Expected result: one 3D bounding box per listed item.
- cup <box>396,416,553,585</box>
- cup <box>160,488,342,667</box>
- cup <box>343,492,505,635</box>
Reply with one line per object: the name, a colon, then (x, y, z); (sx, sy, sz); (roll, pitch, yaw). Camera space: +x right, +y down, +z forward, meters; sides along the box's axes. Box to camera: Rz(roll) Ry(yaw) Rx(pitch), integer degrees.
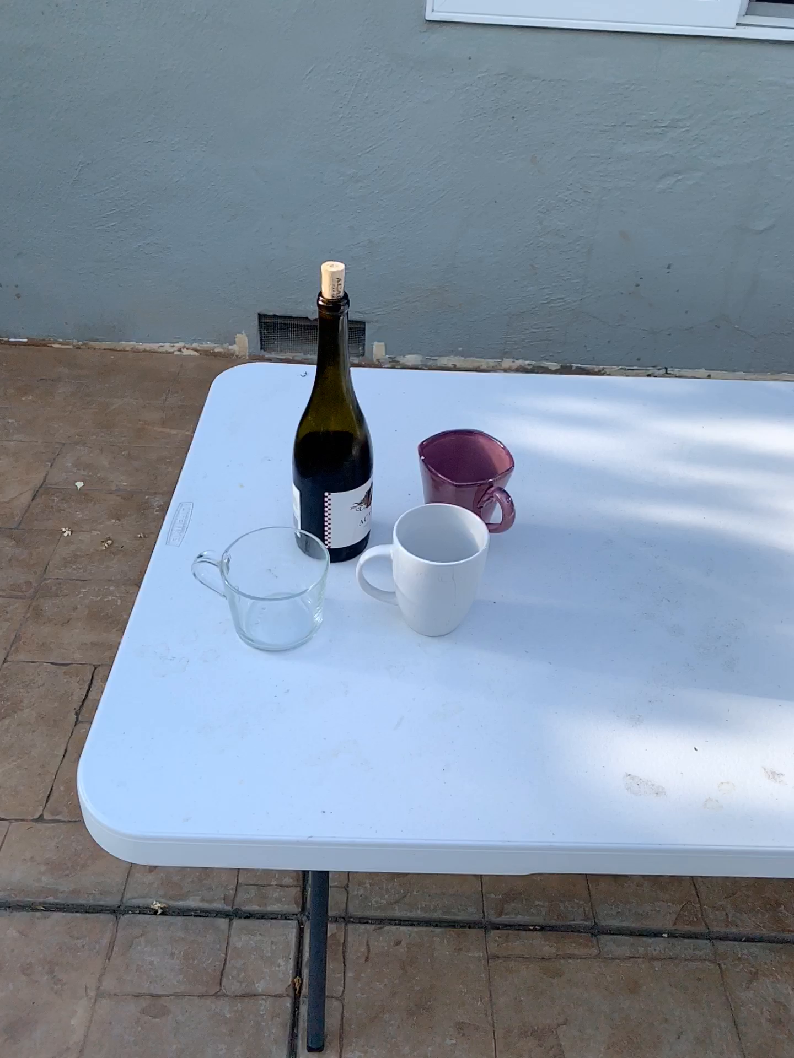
cup: (0.078, -0.034, 0.876); (0.100, 0.099, 0.141); (-16, 43, -22)
cup: (-0.136, 0.043, 0.774); (0.140, 0.089, 0.090); (23, 43, 22)
cup: (0.020, 0.033, 0.772); (0.140, 0.099, 0.091); (1, 39, -3)
